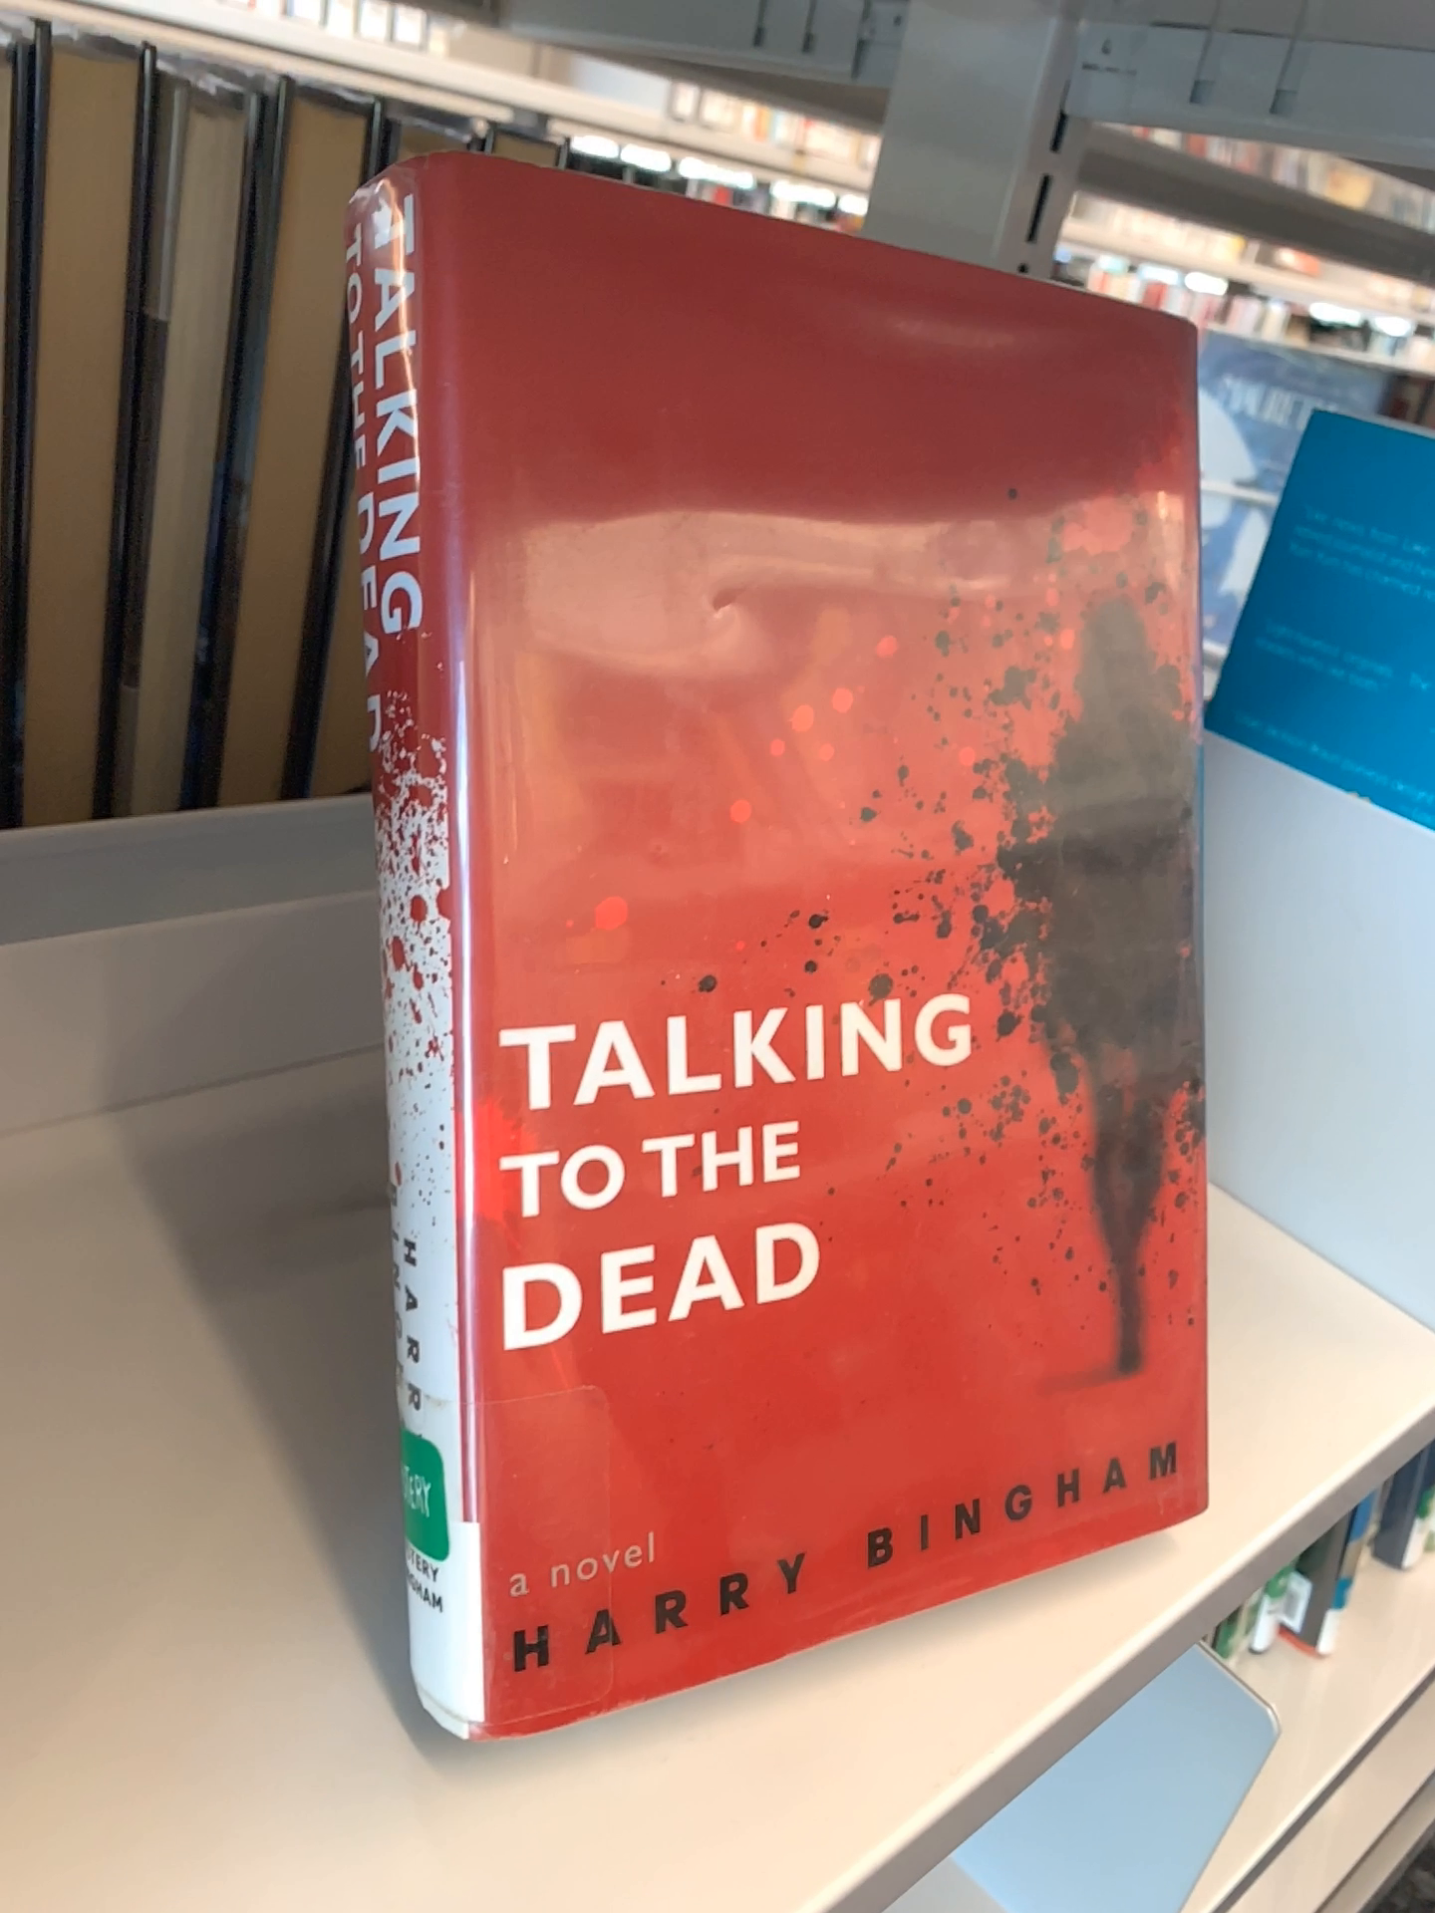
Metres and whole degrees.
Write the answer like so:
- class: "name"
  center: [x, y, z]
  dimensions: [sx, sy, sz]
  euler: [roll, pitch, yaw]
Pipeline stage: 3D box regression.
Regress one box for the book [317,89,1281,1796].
- class: "book"
  center: [0.023, -0.005, 0.259]
  dimensions: [0.164, 0.231, 0.040]
  euler: [-4, 3, -29]
